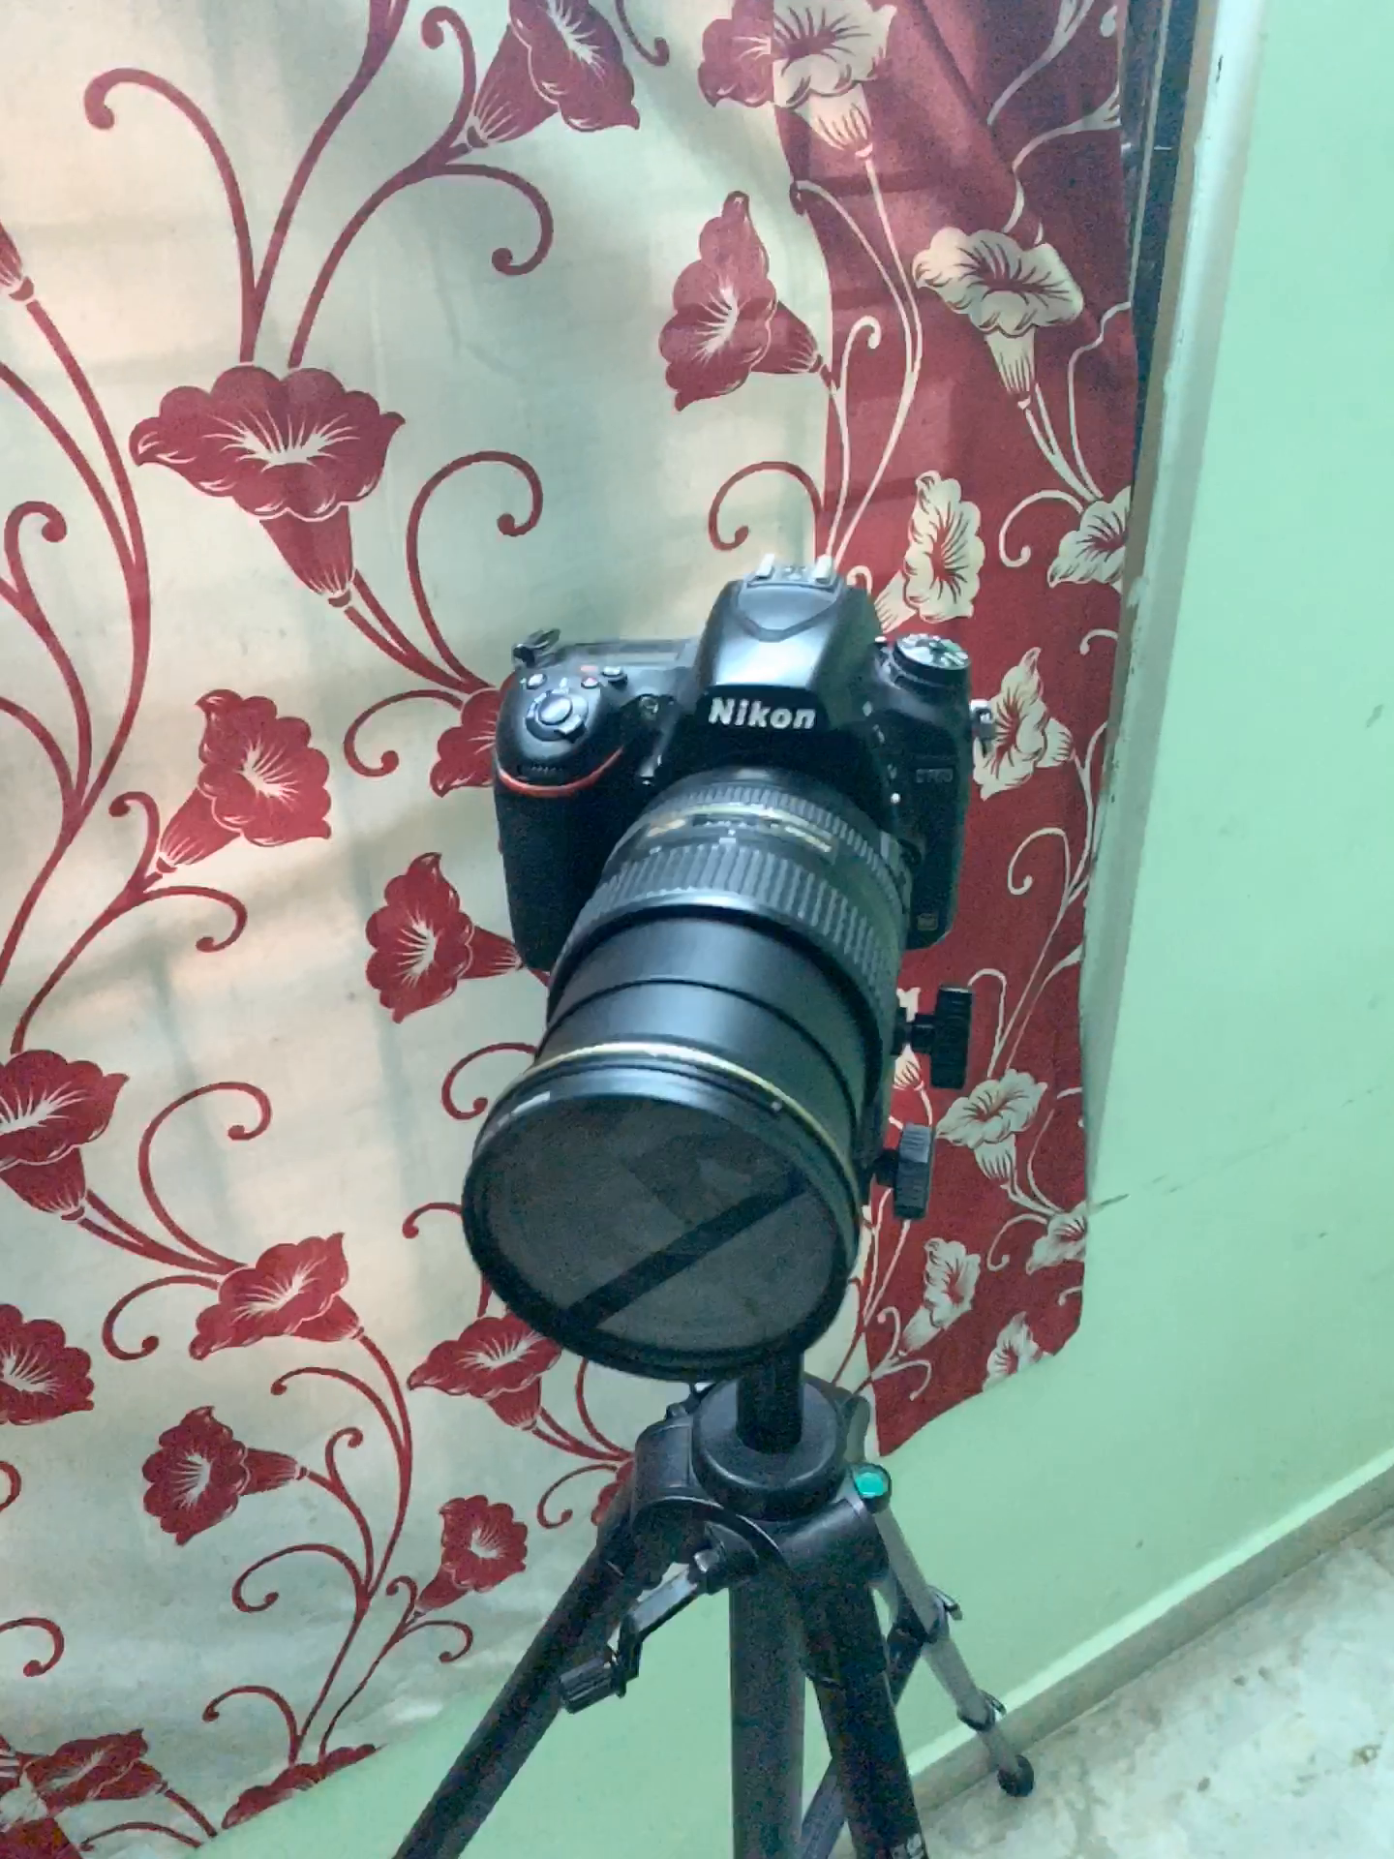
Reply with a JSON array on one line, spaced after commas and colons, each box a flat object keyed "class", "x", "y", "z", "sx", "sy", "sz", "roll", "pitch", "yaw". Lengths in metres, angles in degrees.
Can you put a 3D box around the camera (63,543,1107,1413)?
[{"class": "camera", "x": -0.009, "y": -0.004, "z": 0.334, "sx": 0.172, "sy": 0.122, "sz": 0.171, "roll": 2, "pitch": 31, "yaw": 7}]
